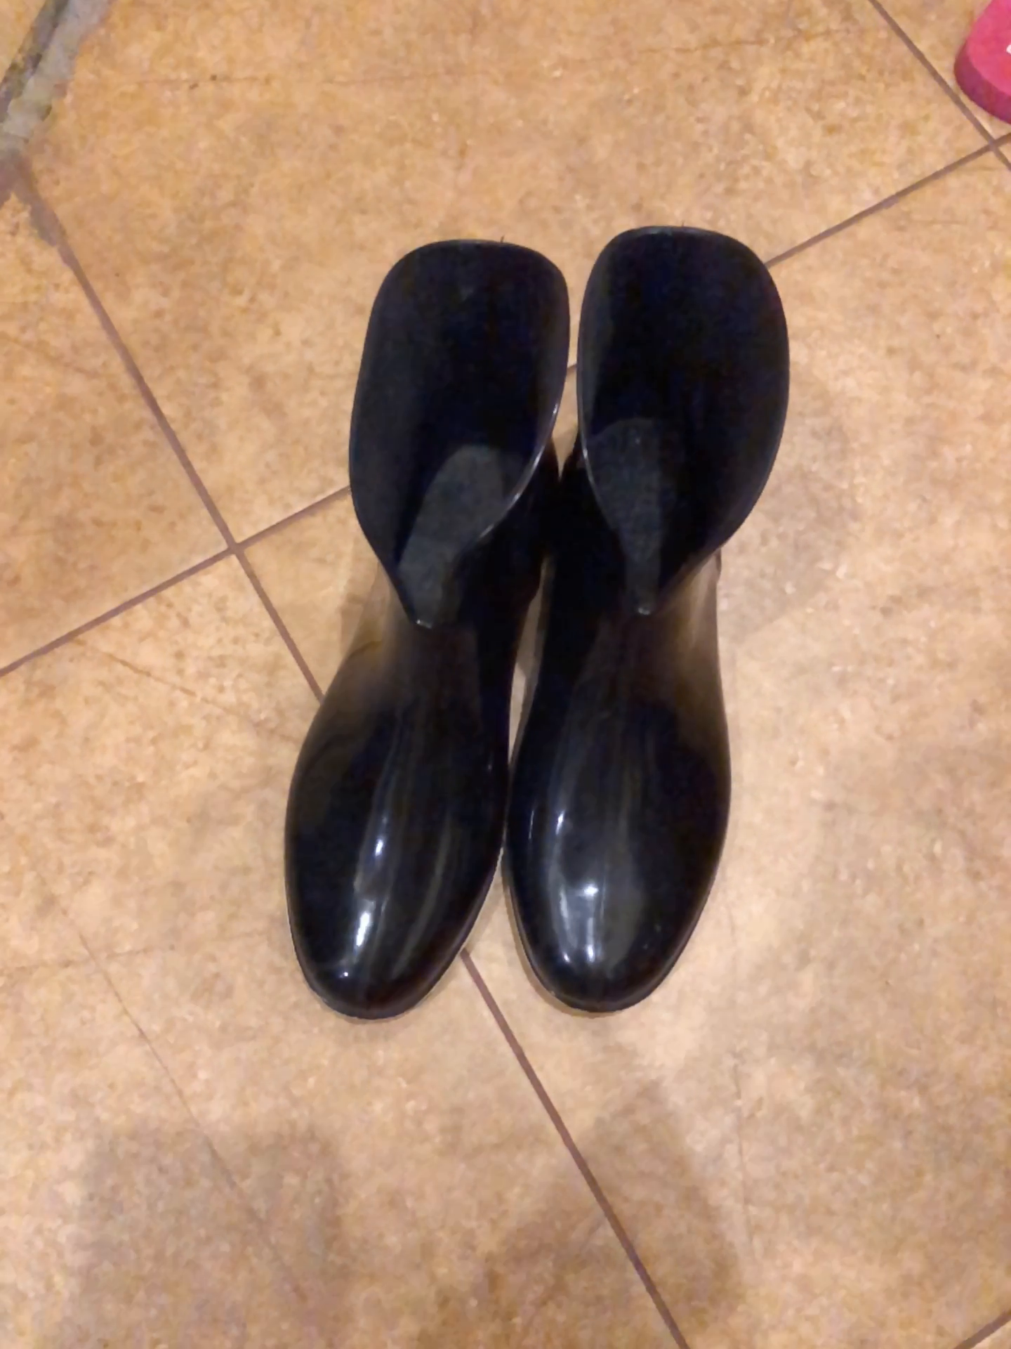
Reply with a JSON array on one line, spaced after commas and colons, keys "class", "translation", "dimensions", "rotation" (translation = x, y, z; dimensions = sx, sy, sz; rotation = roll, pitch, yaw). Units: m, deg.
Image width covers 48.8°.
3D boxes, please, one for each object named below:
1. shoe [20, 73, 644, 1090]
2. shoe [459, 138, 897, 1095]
[{"class": "shoe", "translation": [-0.038, -0.013, 0.415], "dimensions": [0.110, 0.230, 0.281], "rotation": [10, 74, 3]}, {"class": "shoe", "translation": [0.053, -0.003, 0.429], "dimensions": [0.110, 0.230, 0.281], "rotation": [4, 74, 1]}]
